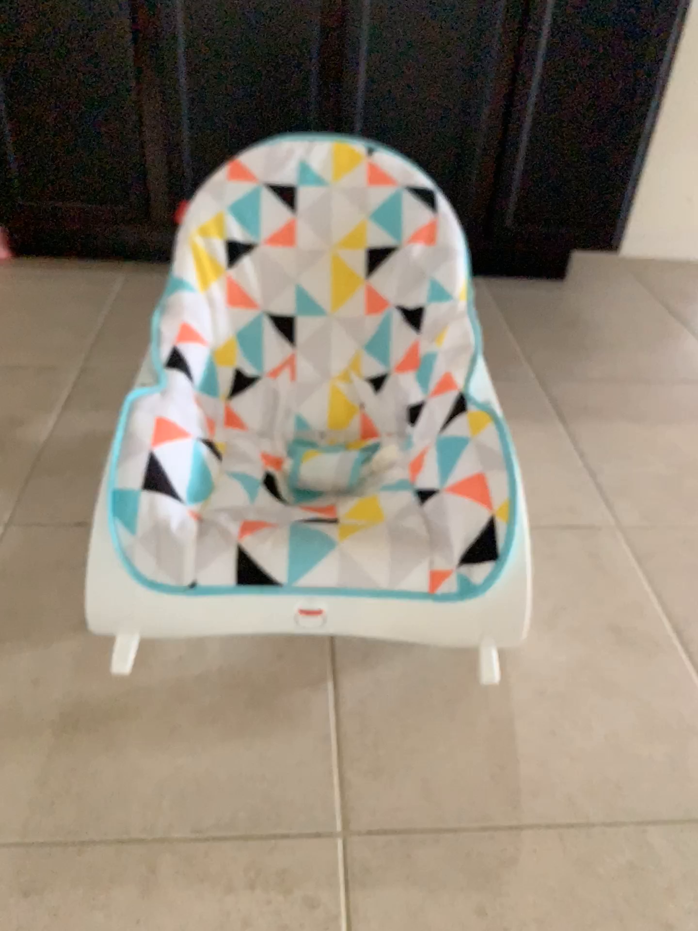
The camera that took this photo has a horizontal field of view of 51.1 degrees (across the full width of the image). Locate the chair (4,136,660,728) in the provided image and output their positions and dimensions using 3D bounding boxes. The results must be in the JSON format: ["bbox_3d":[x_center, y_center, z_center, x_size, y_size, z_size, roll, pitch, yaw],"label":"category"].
[{"bbox_3d":[-0.037,-0.103,1.027,0.530,0.485,0.738,1,36,-4],"label":"chair"}]
